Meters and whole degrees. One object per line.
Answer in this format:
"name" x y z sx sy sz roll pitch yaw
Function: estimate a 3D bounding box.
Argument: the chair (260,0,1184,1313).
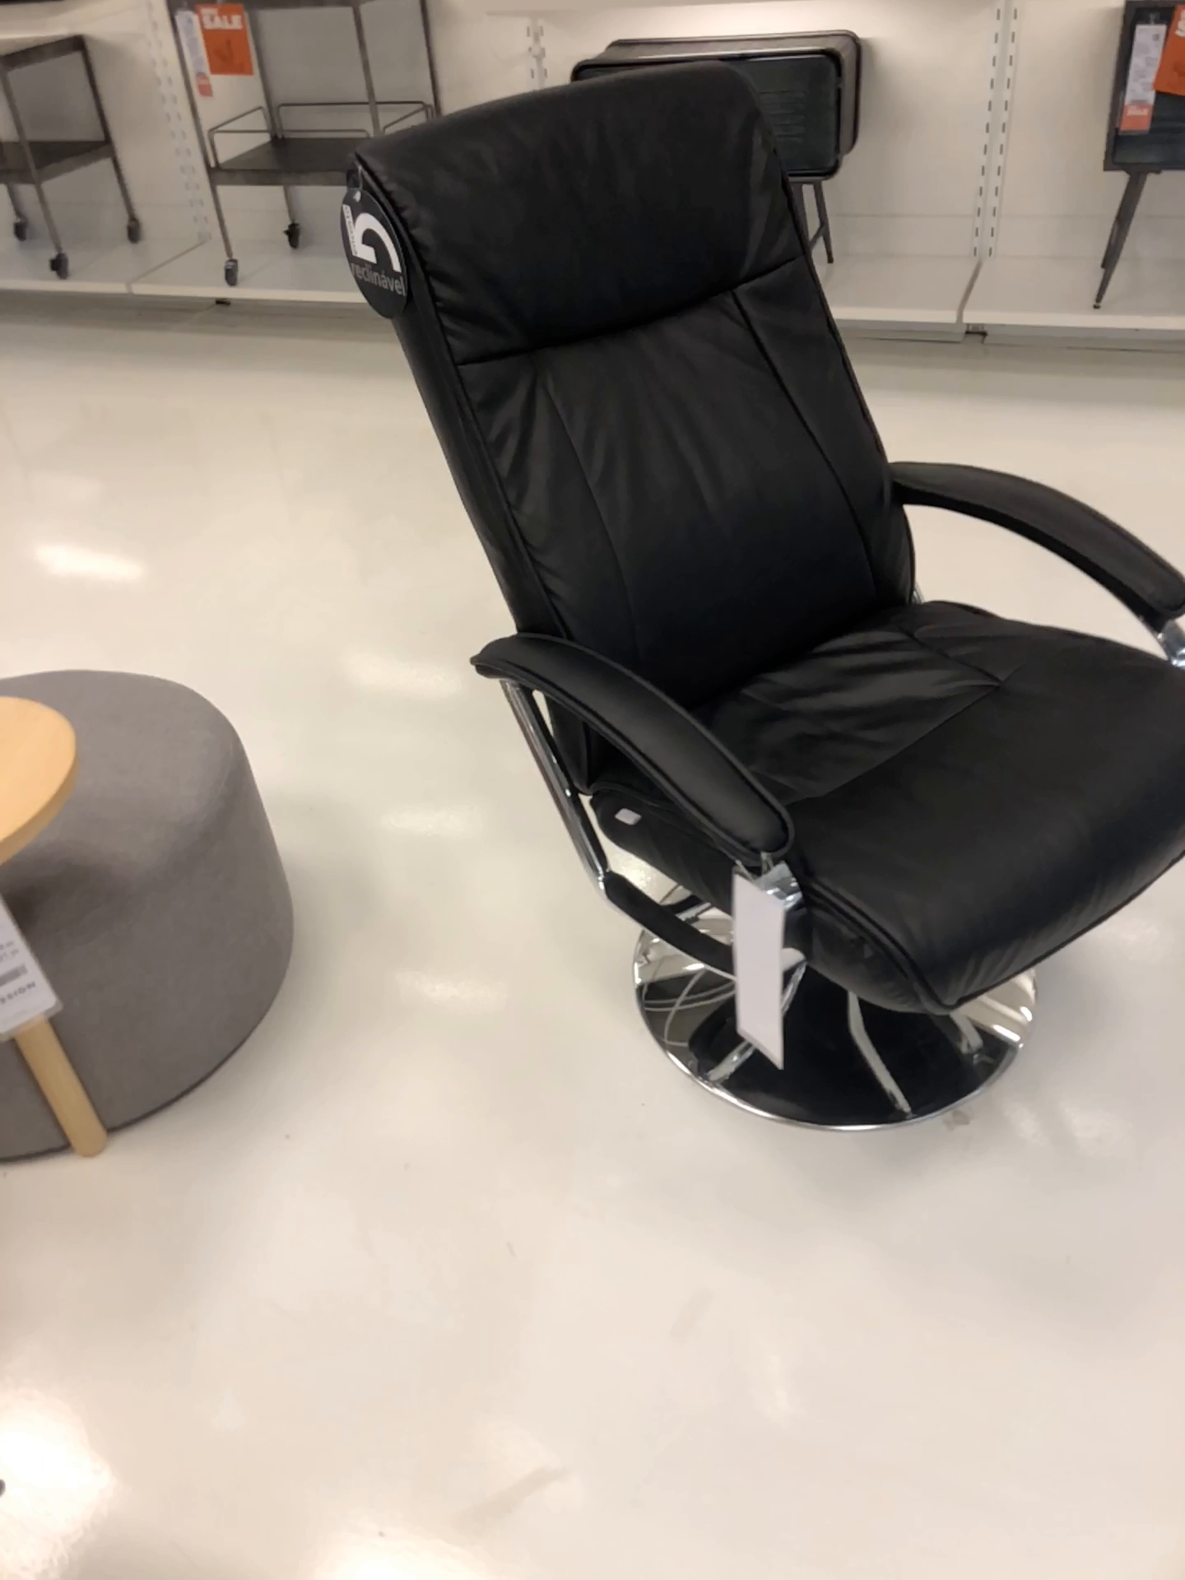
"chair" 0.255 -0.193 1.500 0.753 1.131 0.723 -31 44 -29
